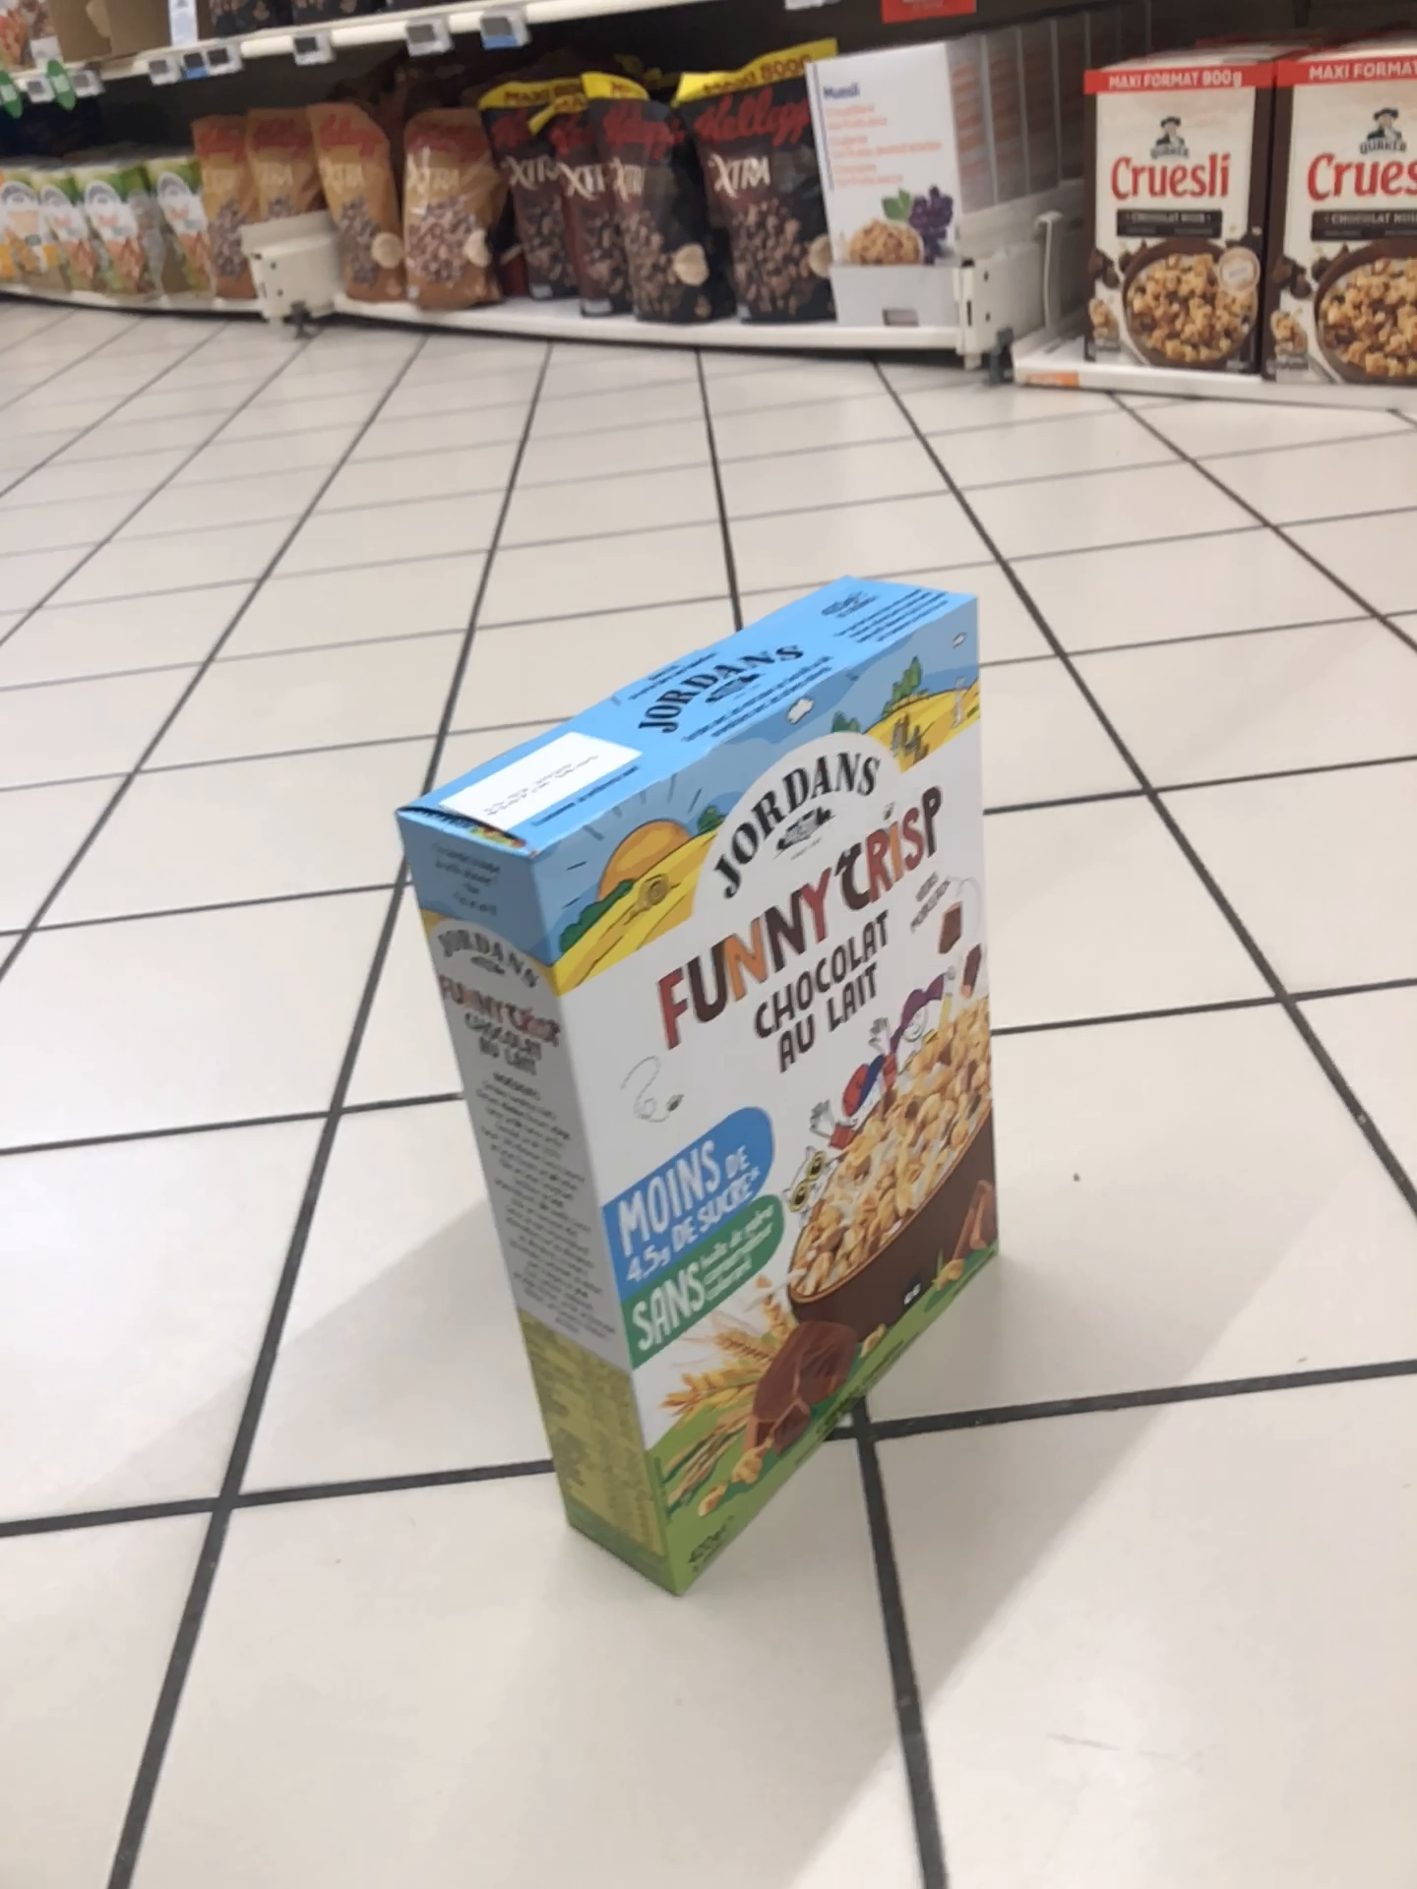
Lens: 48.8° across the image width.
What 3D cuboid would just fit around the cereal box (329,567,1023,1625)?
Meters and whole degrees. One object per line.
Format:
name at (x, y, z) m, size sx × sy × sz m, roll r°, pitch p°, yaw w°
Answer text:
cereal box at (0.012, 0.037, 0.437) m, size 0.060 × 0.229 × 0.181 m, roll 19°, pitch 39°, yaw 38°
